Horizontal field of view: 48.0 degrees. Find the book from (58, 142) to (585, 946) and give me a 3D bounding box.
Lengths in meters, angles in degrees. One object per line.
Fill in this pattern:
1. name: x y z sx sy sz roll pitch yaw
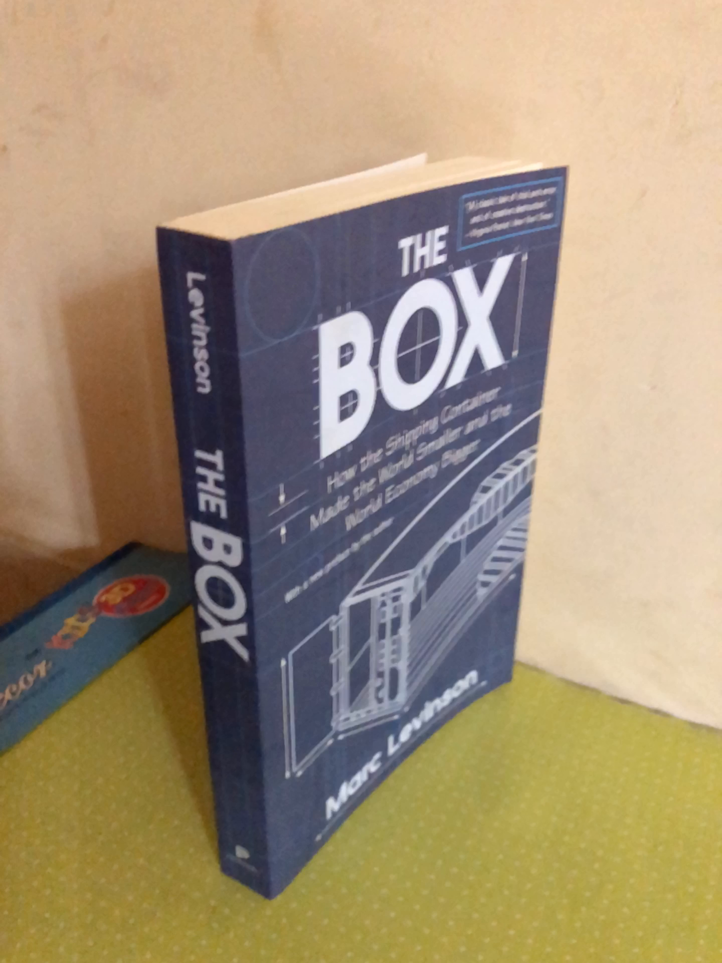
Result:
1. book: 0.004 0.008 0.282 0.050 0.219 0.181 19 32 31
